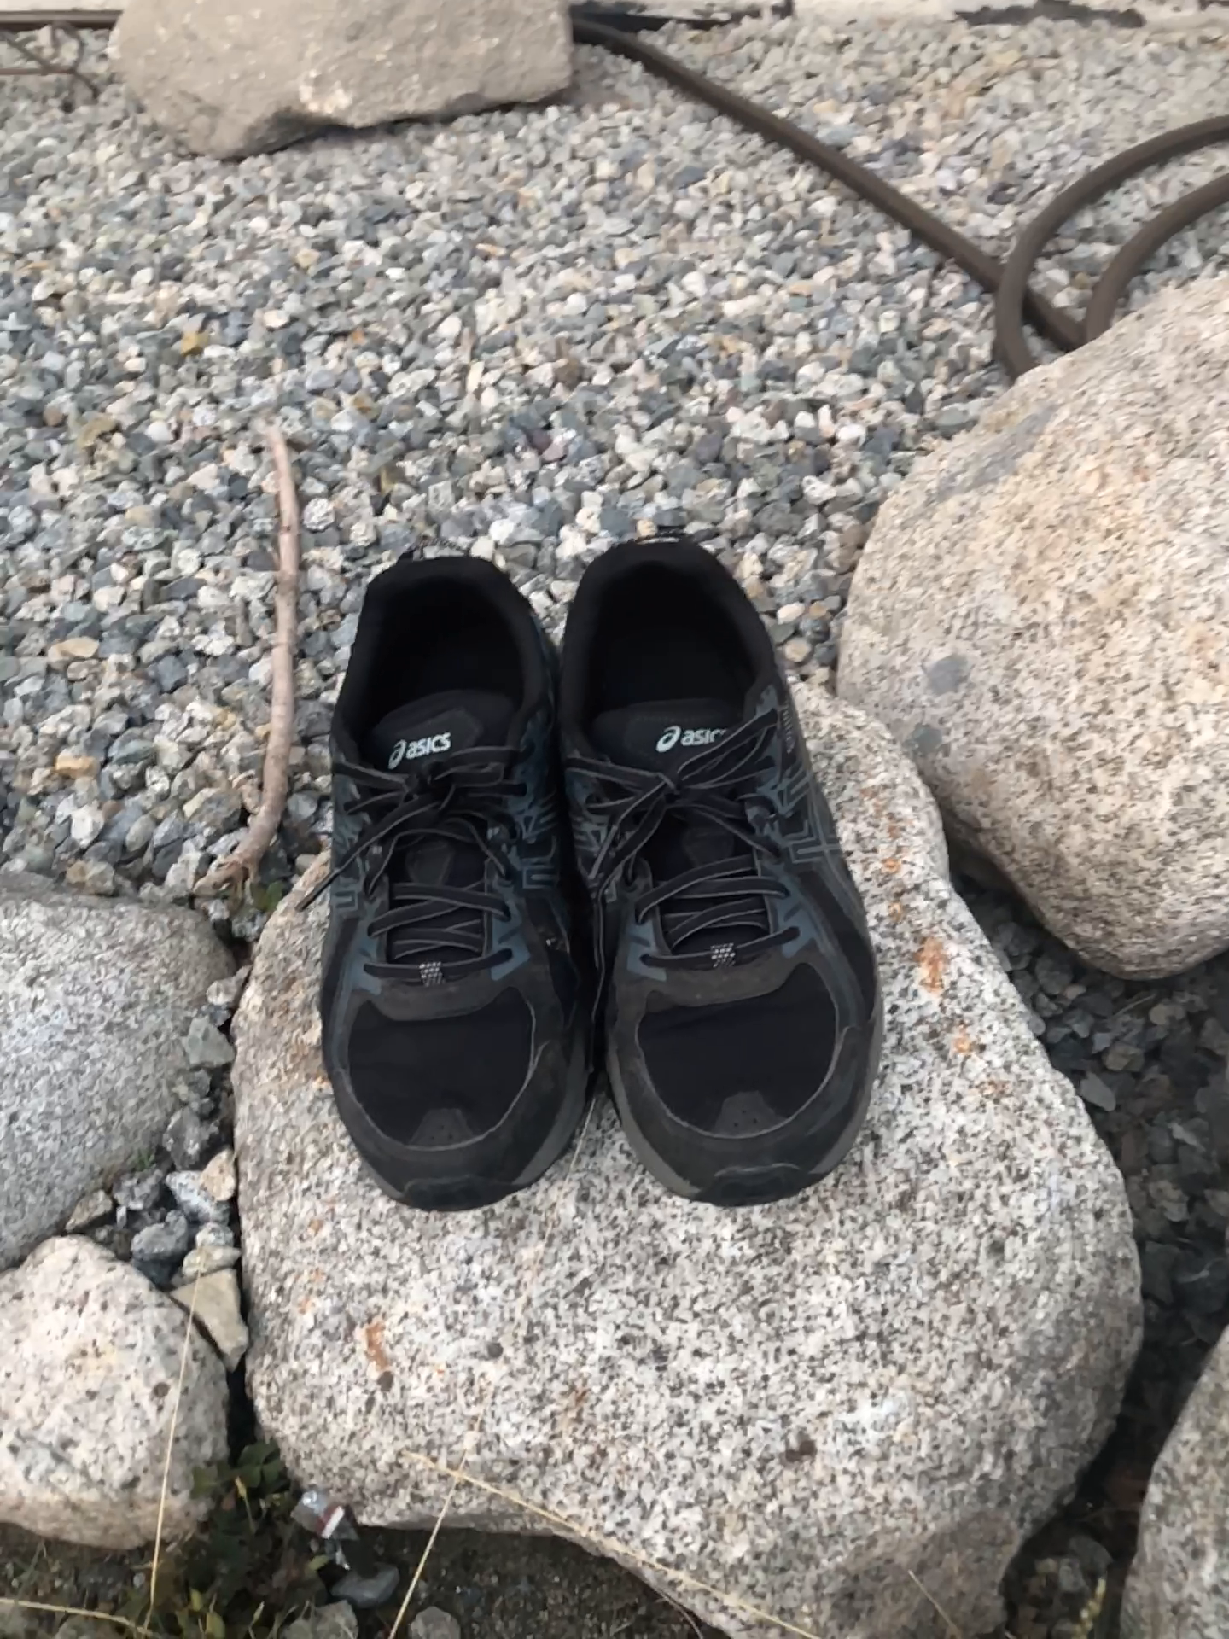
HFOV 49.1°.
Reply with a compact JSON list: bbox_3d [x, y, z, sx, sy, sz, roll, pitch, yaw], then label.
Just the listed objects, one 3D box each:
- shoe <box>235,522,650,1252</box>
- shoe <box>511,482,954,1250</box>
[{"bbox_3d":[-0.062,0.011,0.538,0.120,0.099,0.282,-6,47,0],"label":"shoe"},{"bbox_3d":[0.030,0.000,0.522,0.120,0.099,0.292,-6,47,0],"label":"shoe"}]
